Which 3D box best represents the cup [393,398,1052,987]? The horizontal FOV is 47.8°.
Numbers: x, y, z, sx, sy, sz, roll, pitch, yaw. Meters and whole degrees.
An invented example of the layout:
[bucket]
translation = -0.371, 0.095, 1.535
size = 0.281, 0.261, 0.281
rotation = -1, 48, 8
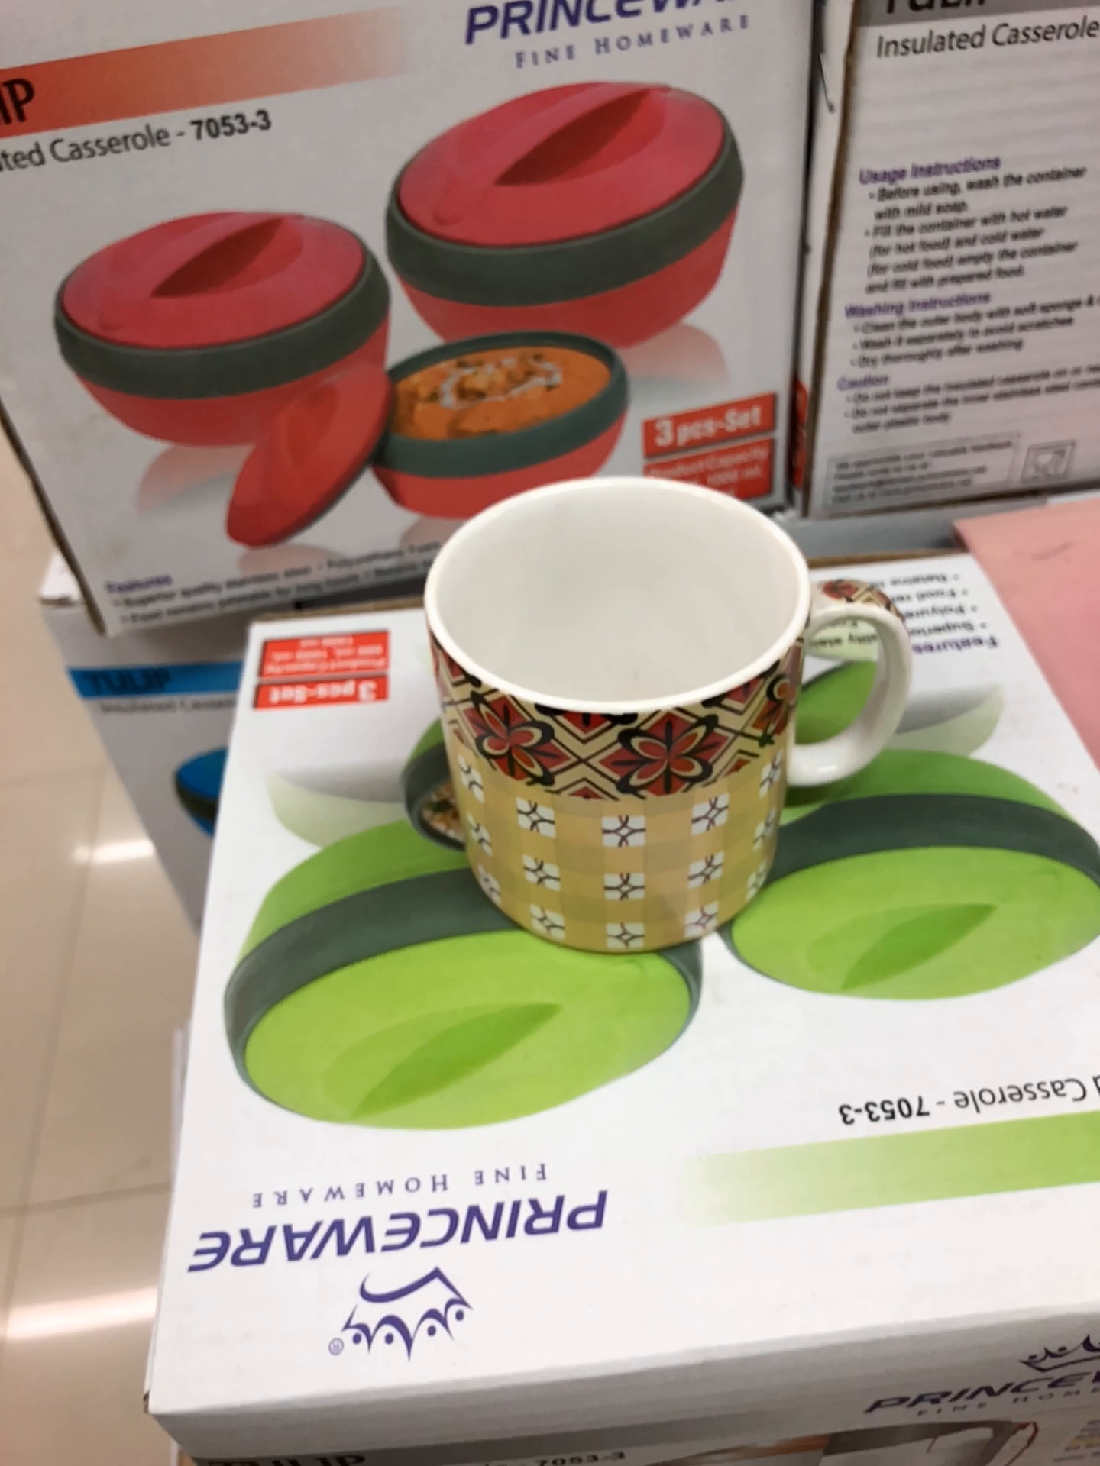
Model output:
[cup]
translation = 0.028, -0.010, 0.264
size = 0.110, 0.080, 0.080
rotation = -7, 43, -3
